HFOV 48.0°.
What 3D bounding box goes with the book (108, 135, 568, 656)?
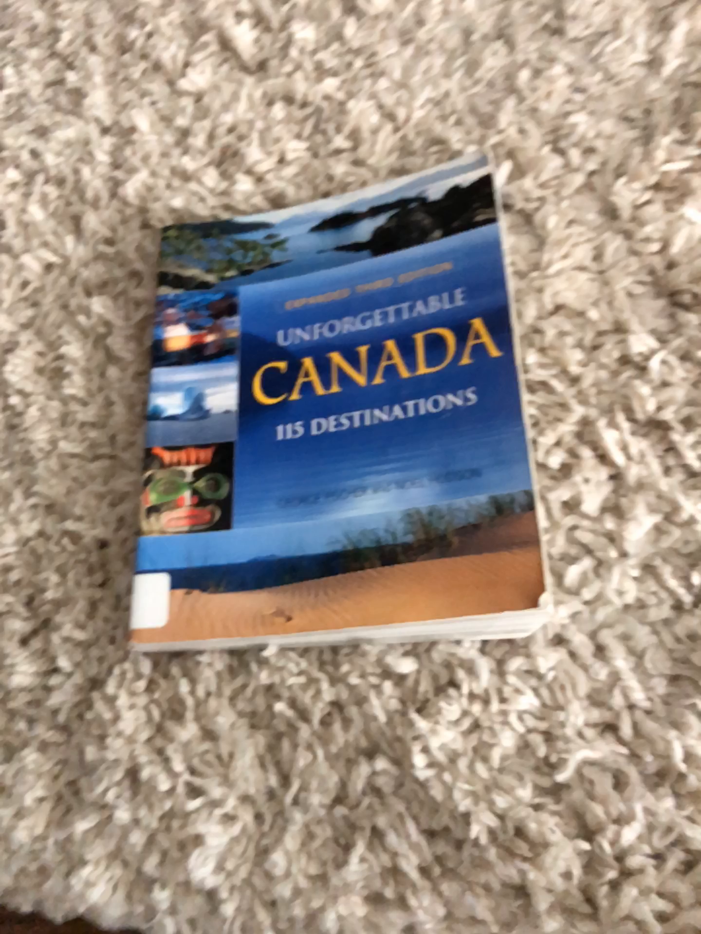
[{"bbox_3d":[-0.011,-0.035,0.389,0.200,0.040,0.234,-8,67,16],"label":"book"}]
